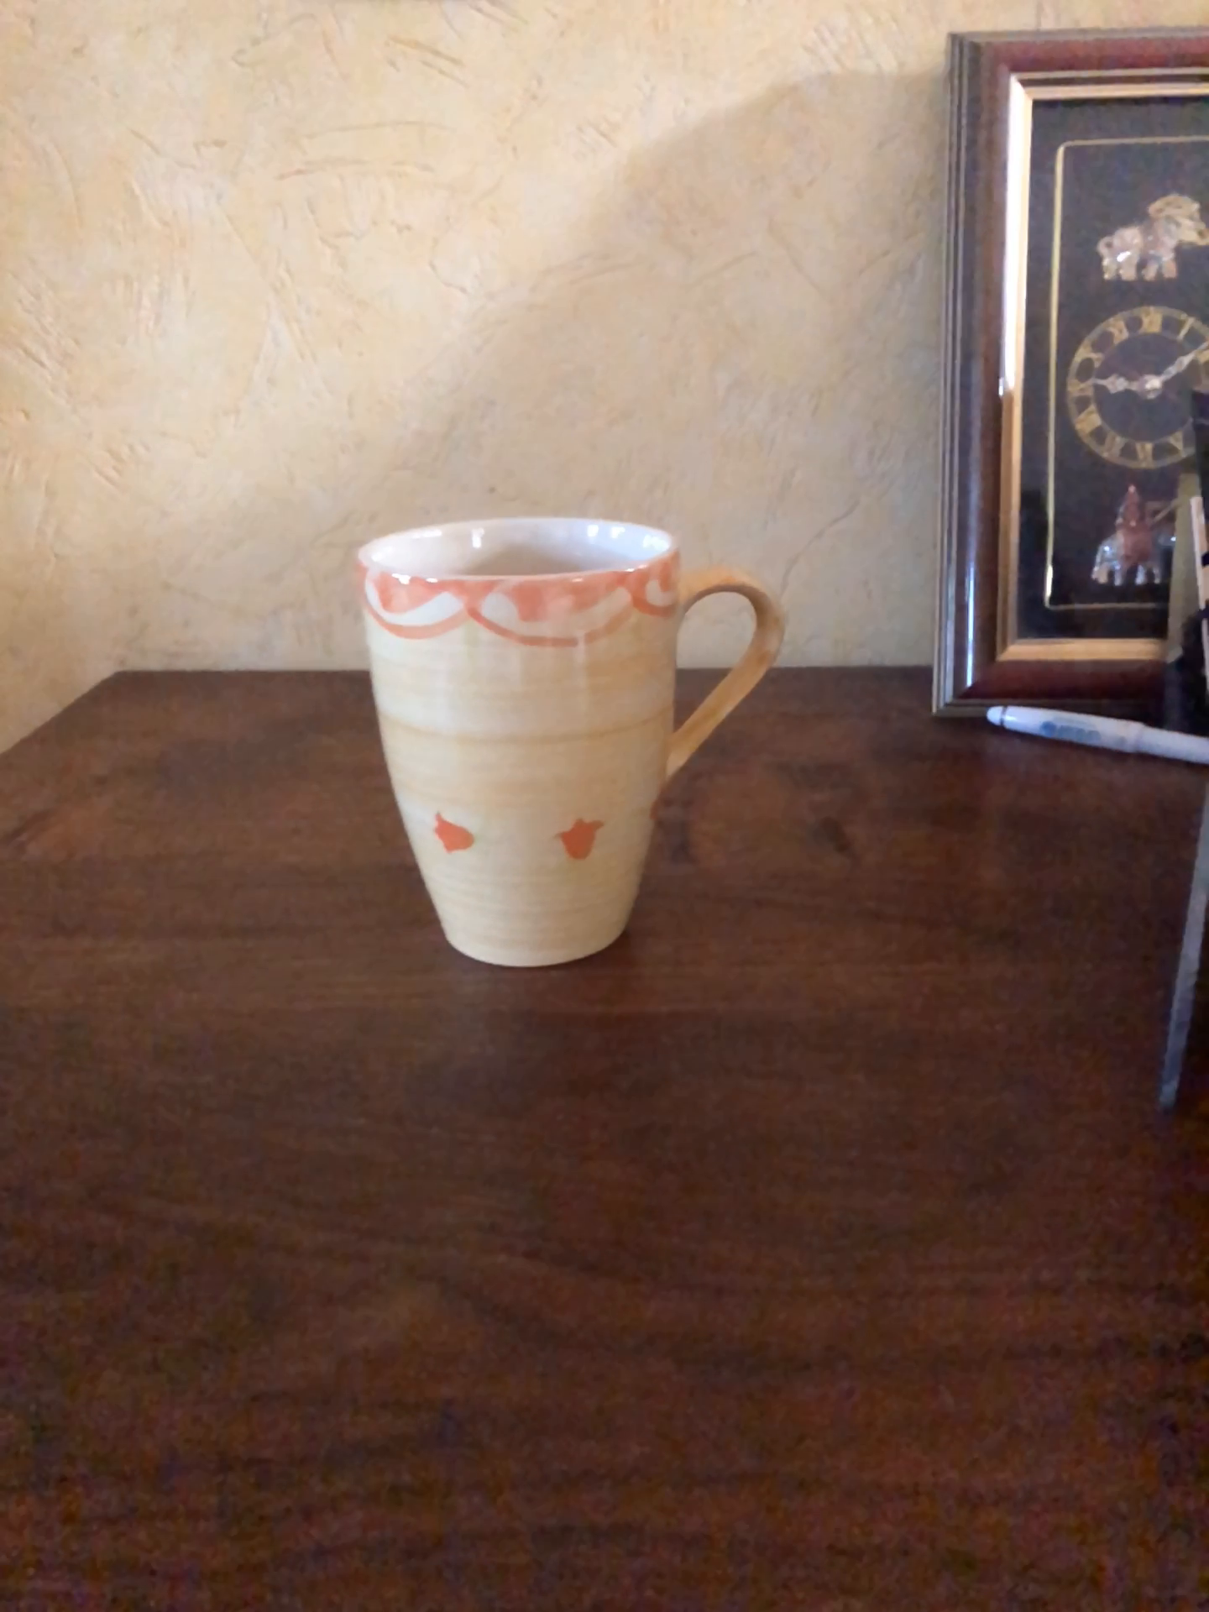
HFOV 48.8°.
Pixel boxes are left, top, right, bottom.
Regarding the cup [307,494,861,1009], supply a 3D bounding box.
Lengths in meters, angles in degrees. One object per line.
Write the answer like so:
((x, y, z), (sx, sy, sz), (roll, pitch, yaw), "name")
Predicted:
((-0.009, -0.024, 0.369), (0.120, 0.100, 0.100), (-9, 23, -18), "cup")
